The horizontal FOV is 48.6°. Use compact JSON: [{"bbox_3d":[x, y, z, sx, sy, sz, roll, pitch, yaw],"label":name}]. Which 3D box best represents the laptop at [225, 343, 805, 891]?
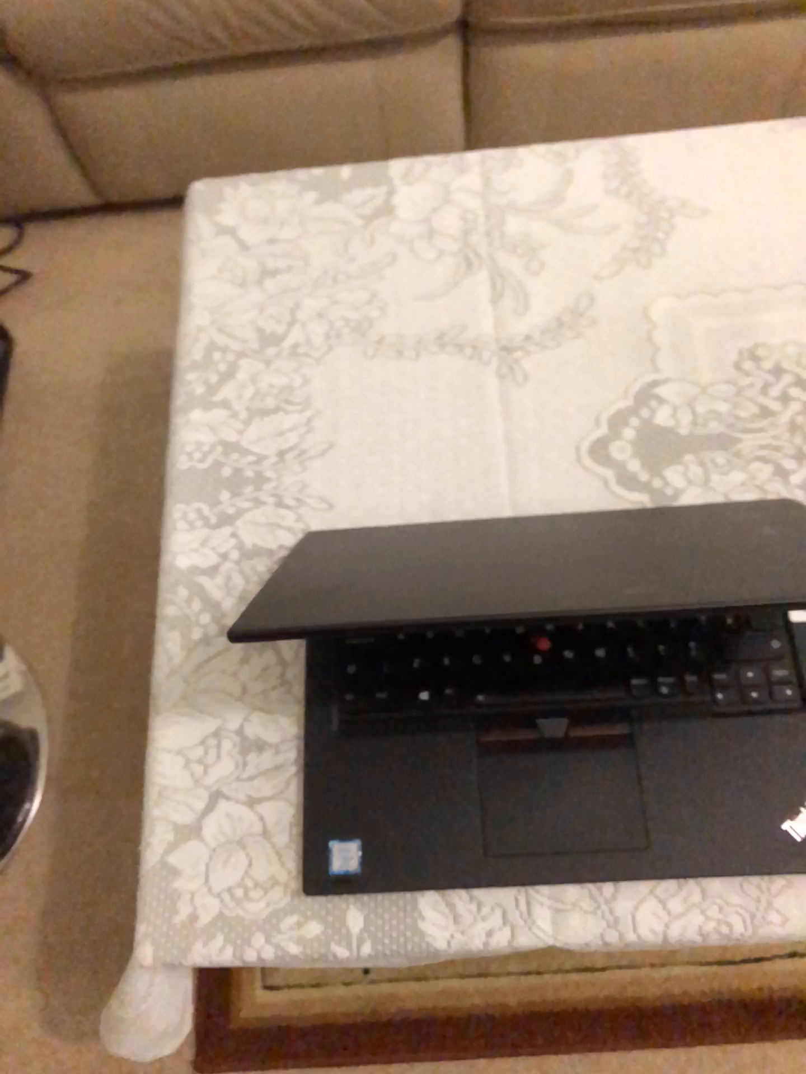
[{"bbox_3d":[0.086,0.056,0.465,0.309,0.174,0.220,-4,65,5],"label":"laptop"}]
